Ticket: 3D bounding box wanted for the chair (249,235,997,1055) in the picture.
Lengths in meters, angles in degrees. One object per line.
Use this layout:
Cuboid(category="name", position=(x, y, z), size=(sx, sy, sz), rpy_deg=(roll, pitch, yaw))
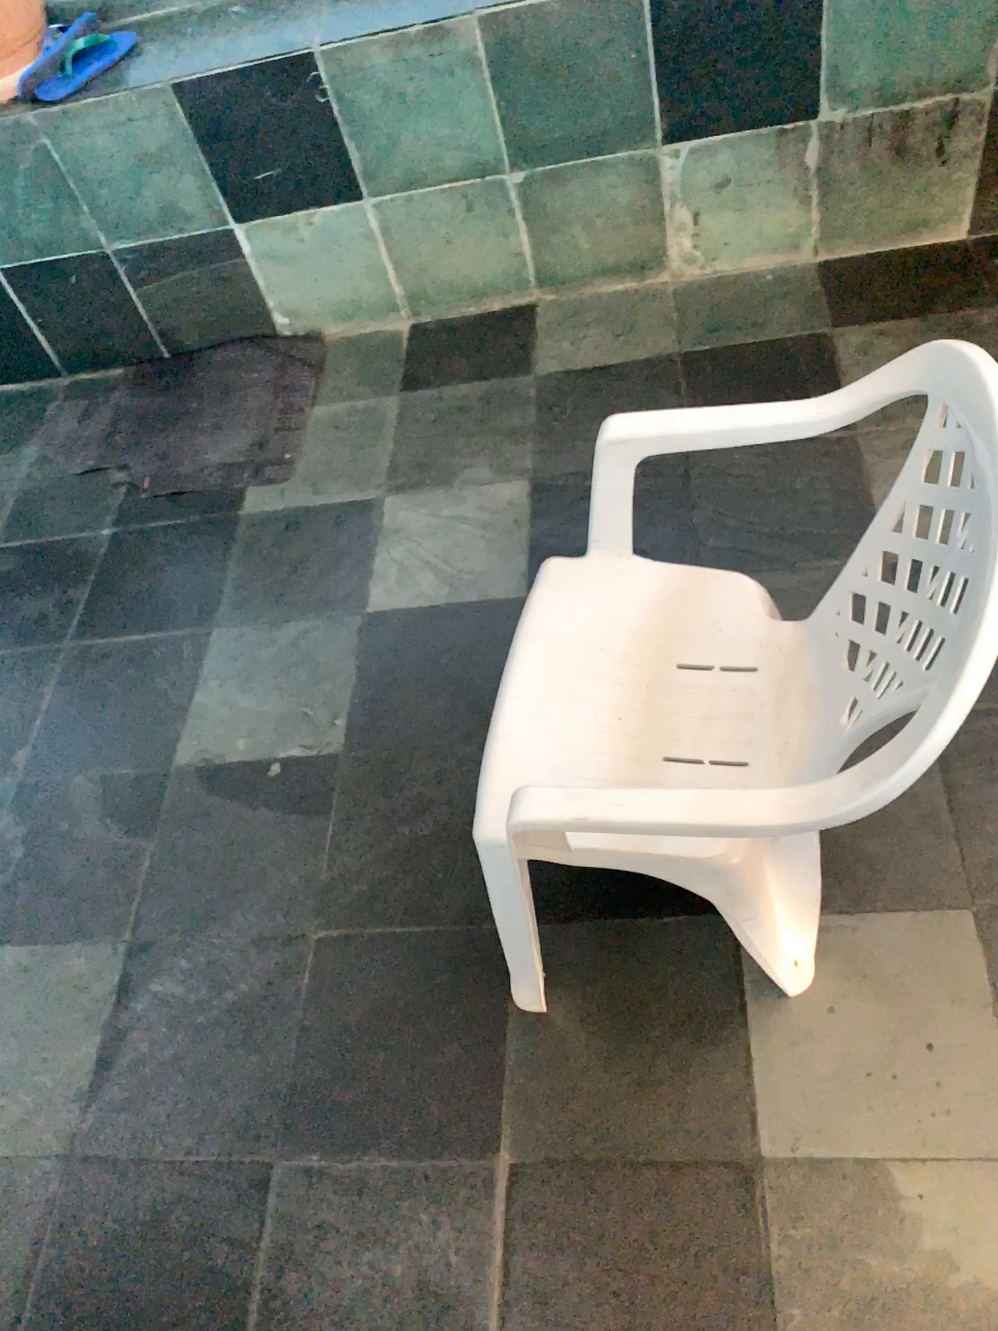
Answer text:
Cuboid(category="chair", position=(0.208, 0.025, 1.161), size=(0.591, 0.717, 0.542), rpy_deg=(0, 54, 16))
